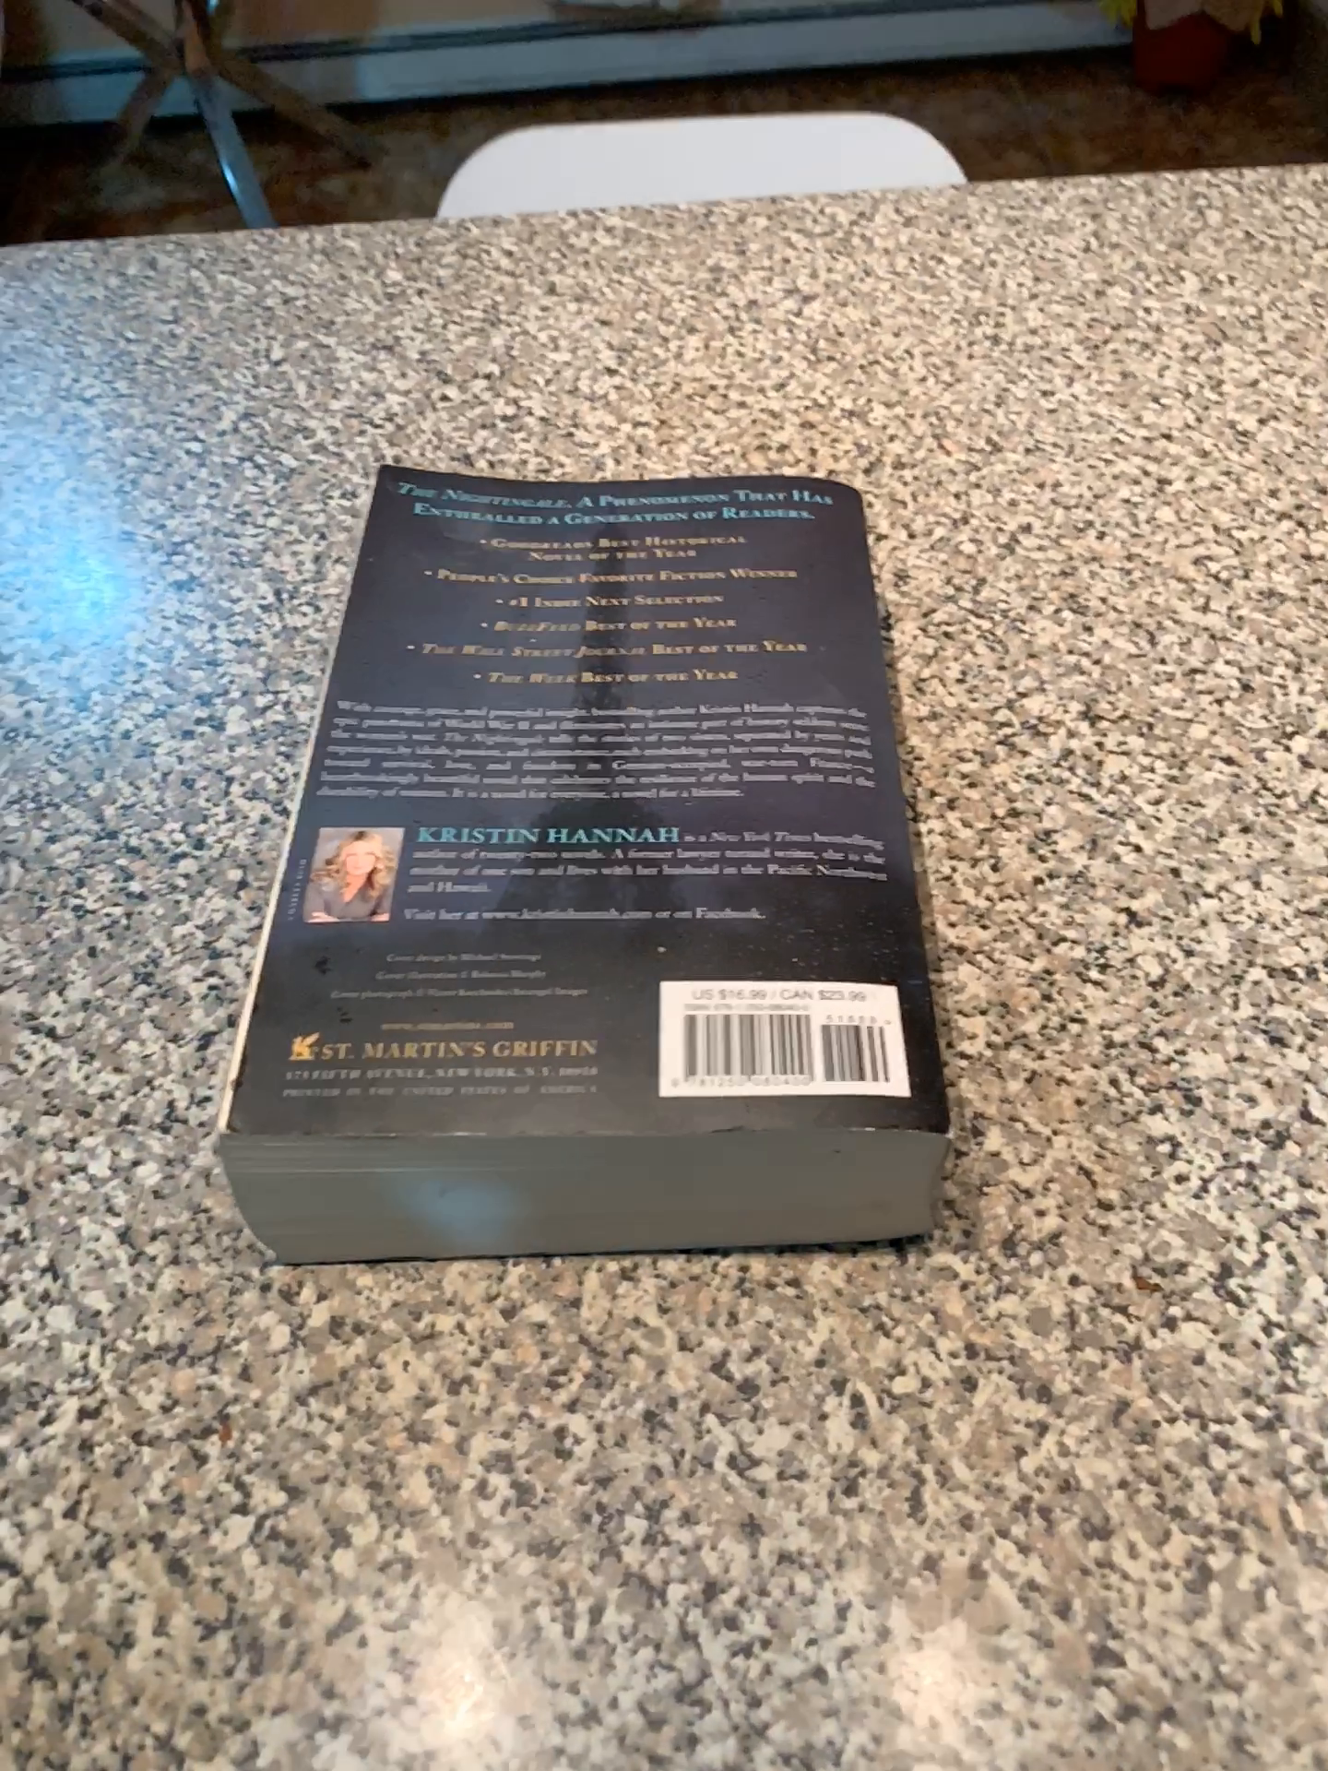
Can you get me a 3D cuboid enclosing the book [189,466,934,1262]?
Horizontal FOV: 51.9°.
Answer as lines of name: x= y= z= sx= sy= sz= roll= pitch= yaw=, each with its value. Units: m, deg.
book: x=-0.016 y=-0.017 z=0.339 sx=0.139 sy=0.056 sz=0.207 roll=-1 pitch=51 yaw=3
